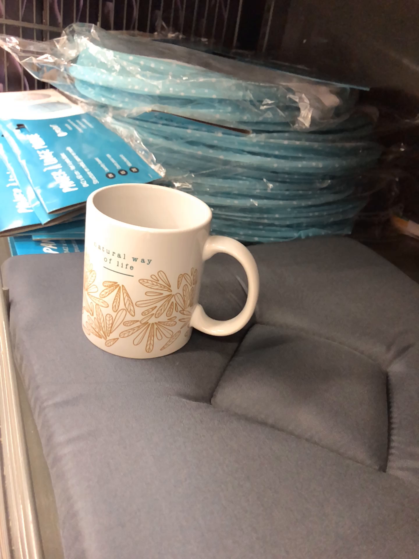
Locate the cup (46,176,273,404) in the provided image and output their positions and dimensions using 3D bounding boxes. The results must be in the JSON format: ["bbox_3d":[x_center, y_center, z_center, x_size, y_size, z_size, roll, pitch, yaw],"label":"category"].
[{"bbox_3d":[-0.033,0.000,0.321,0.120,0.099,0.091,17,28,11],"label":"cup"}]
